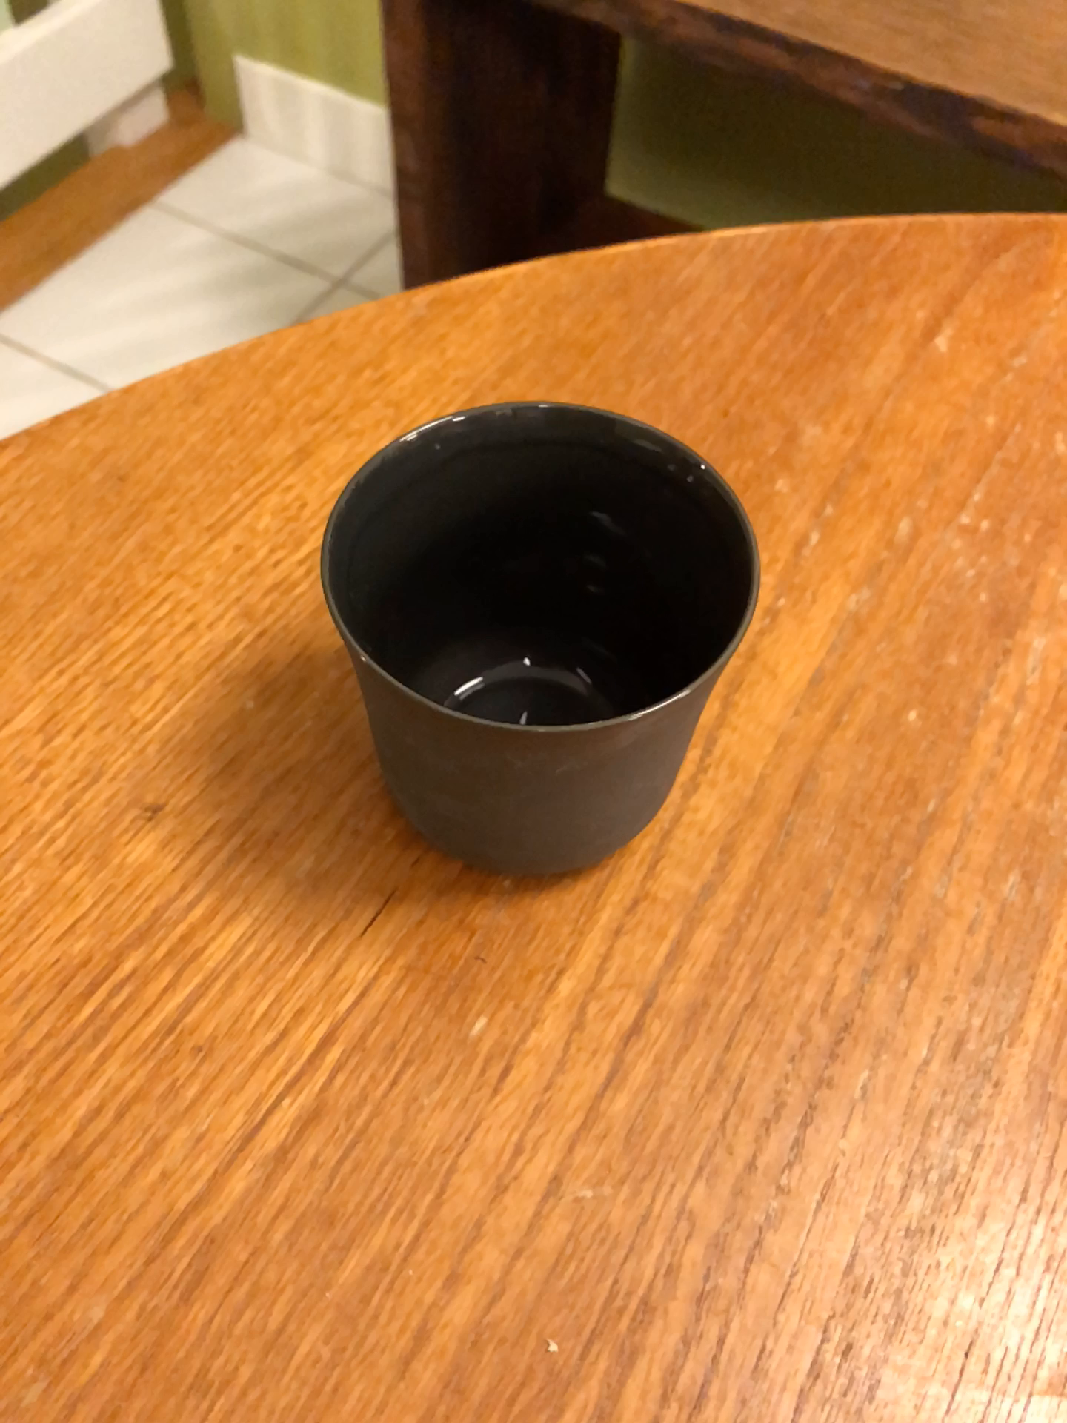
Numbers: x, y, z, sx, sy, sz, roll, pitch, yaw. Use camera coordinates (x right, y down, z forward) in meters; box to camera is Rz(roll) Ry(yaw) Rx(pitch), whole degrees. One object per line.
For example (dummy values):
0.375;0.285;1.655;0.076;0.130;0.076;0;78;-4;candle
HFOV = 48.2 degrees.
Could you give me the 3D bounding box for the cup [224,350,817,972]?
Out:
0.000;-0.009;0.231;0.079;0.068;0.075;1;56;-2;cup
